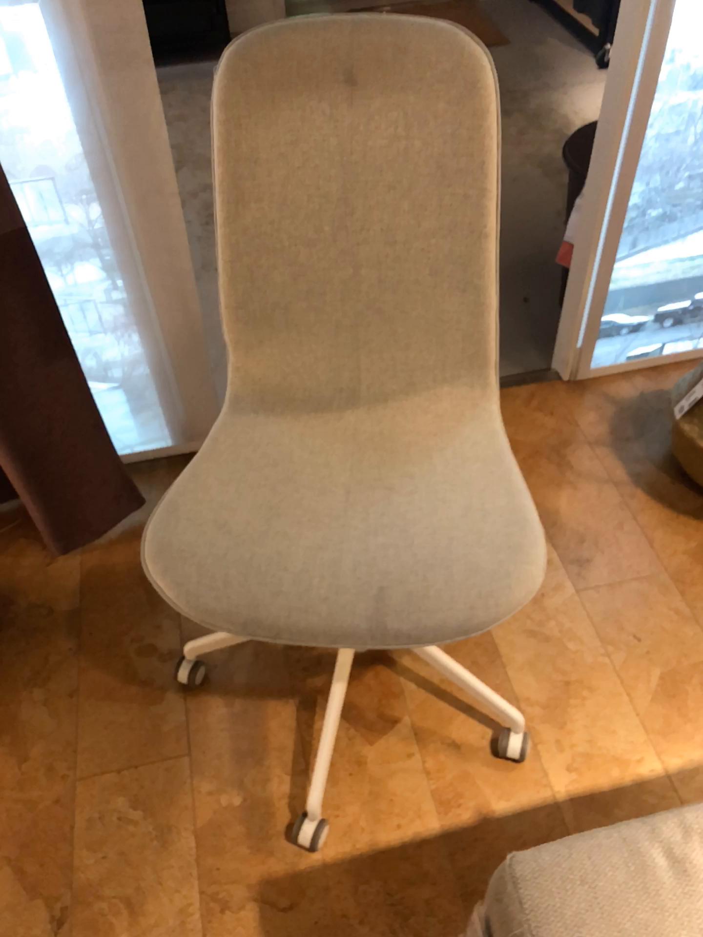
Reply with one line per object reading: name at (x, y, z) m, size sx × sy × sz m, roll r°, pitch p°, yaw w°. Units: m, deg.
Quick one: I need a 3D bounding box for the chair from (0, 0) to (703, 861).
chair at (-0.039, 0.002, 1.052) m, size 0.670 × 0.937 × 0.692 m, roll -2°, pitch 47°, yaw 1°
